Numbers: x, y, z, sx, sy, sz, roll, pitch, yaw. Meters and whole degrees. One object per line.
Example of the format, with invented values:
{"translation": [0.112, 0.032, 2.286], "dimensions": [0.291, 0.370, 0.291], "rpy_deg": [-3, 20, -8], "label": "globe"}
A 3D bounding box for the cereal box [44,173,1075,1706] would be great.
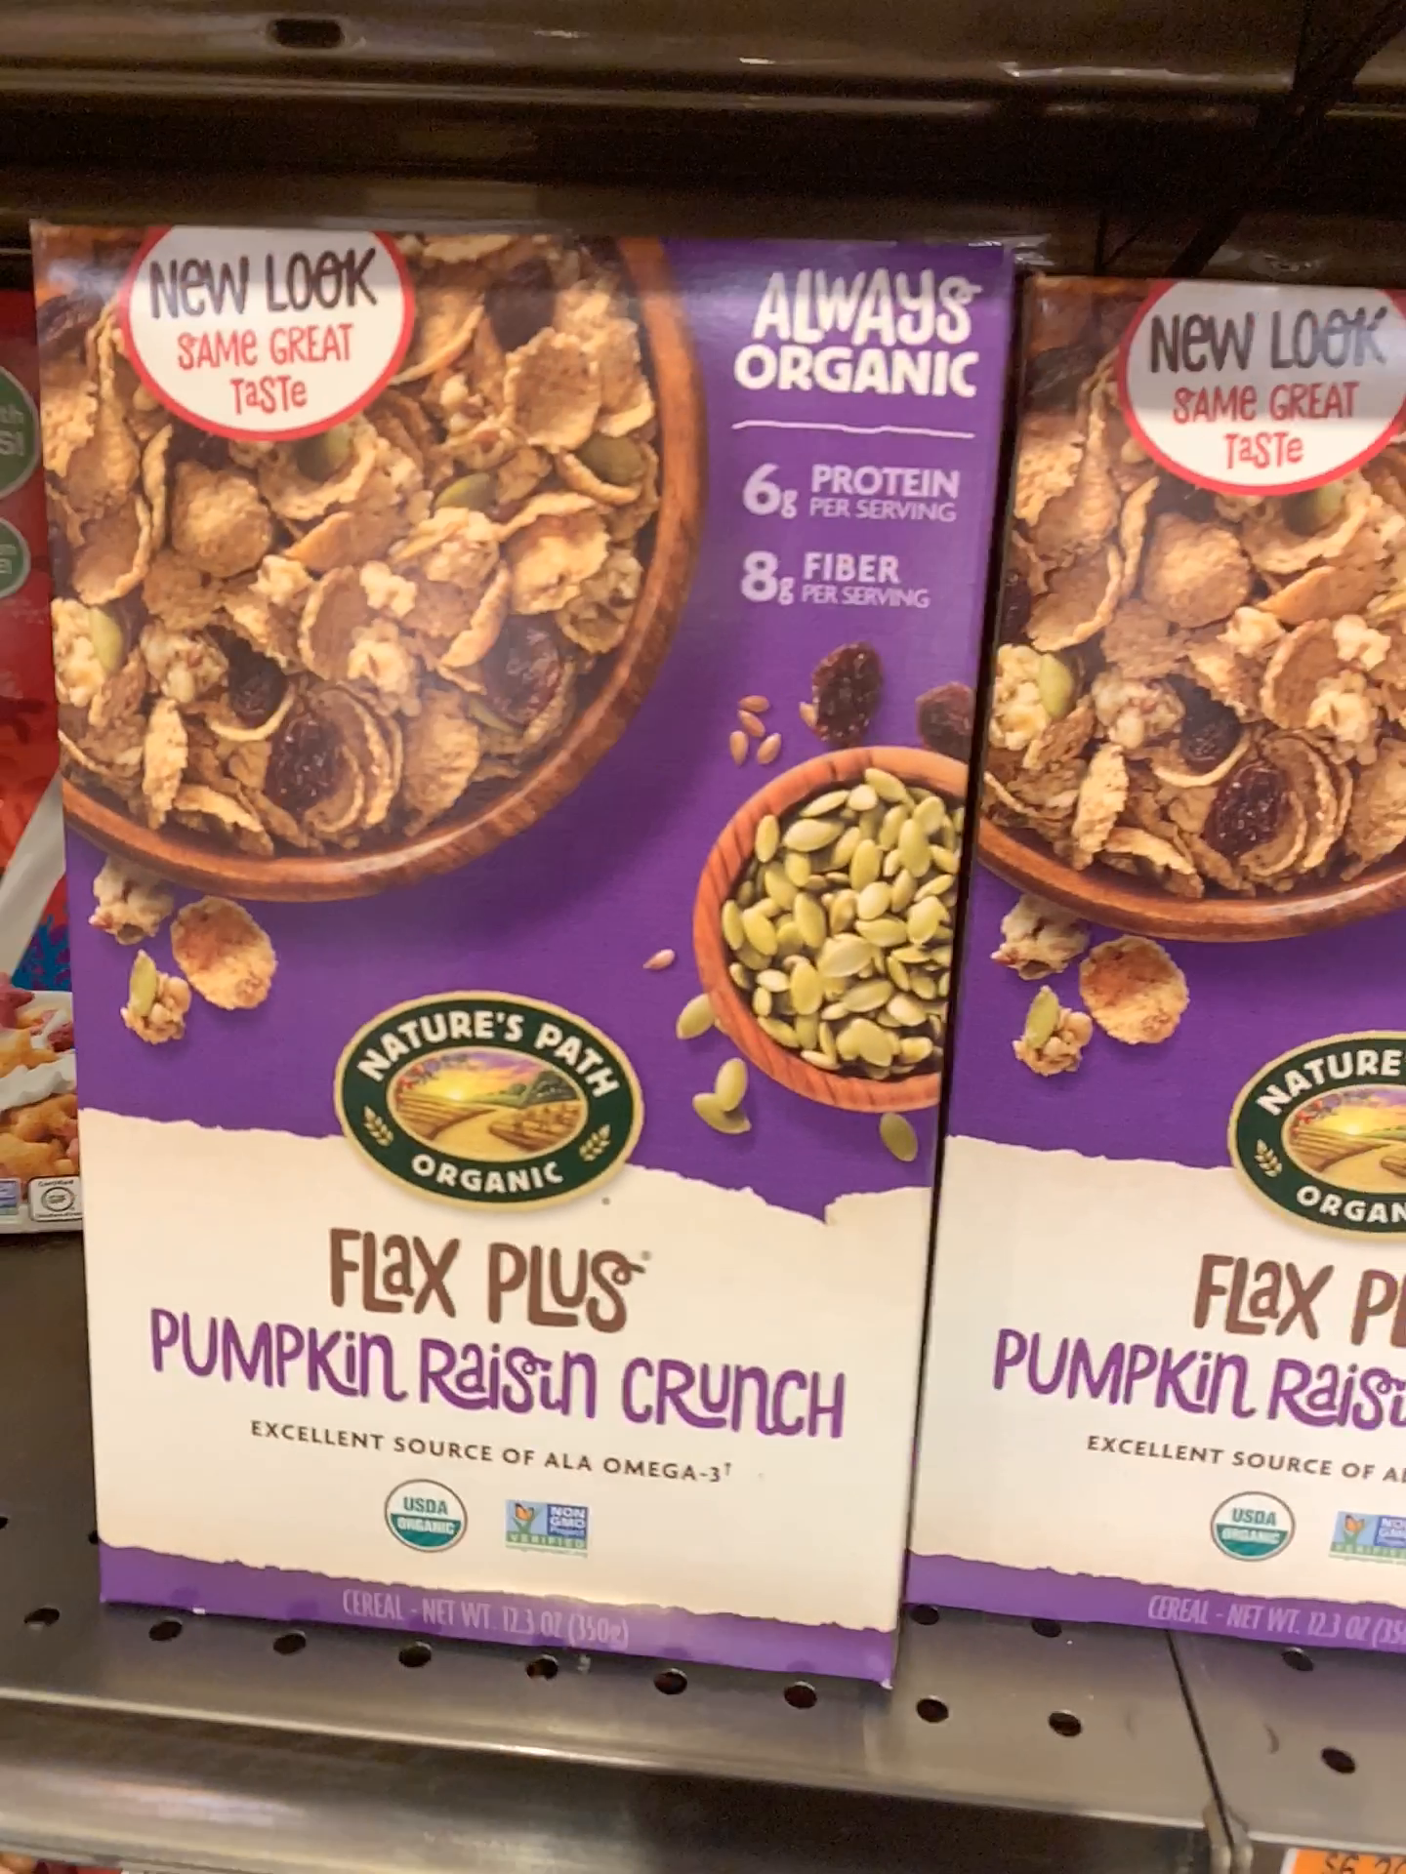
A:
{"translation": [-0.030, 0.005, 0.284], "dimensions": [0.170, 0.269, 0.050], "rpy_deg": [4, 11, 5], "label": "cereal box"}
